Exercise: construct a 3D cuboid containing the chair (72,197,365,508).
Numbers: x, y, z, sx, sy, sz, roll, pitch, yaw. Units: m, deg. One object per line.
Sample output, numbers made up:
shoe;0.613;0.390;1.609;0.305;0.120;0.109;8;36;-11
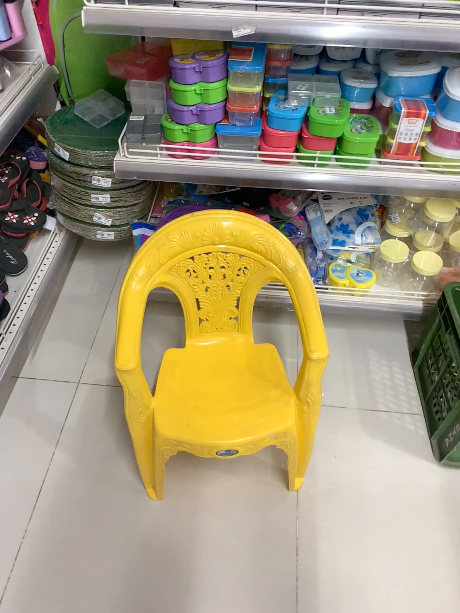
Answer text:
chair;-0.027;0.102;0.991;0.420;0.449;0.461;-3;49;-2
